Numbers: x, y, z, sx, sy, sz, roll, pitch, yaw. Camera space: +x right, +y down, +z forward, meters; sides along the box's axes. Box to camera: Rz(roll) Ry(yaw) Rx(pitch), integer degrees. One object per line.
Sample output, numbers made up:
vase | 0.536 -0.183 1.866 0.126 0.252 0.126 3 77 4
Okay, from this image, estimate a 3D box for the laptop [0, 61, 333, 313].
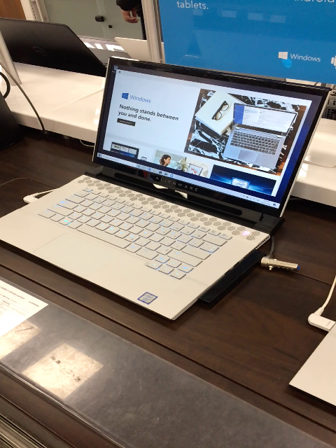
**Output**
laptop | -0.046 -0.086 0.653 0.373 0.210 0.326 23 46 33
